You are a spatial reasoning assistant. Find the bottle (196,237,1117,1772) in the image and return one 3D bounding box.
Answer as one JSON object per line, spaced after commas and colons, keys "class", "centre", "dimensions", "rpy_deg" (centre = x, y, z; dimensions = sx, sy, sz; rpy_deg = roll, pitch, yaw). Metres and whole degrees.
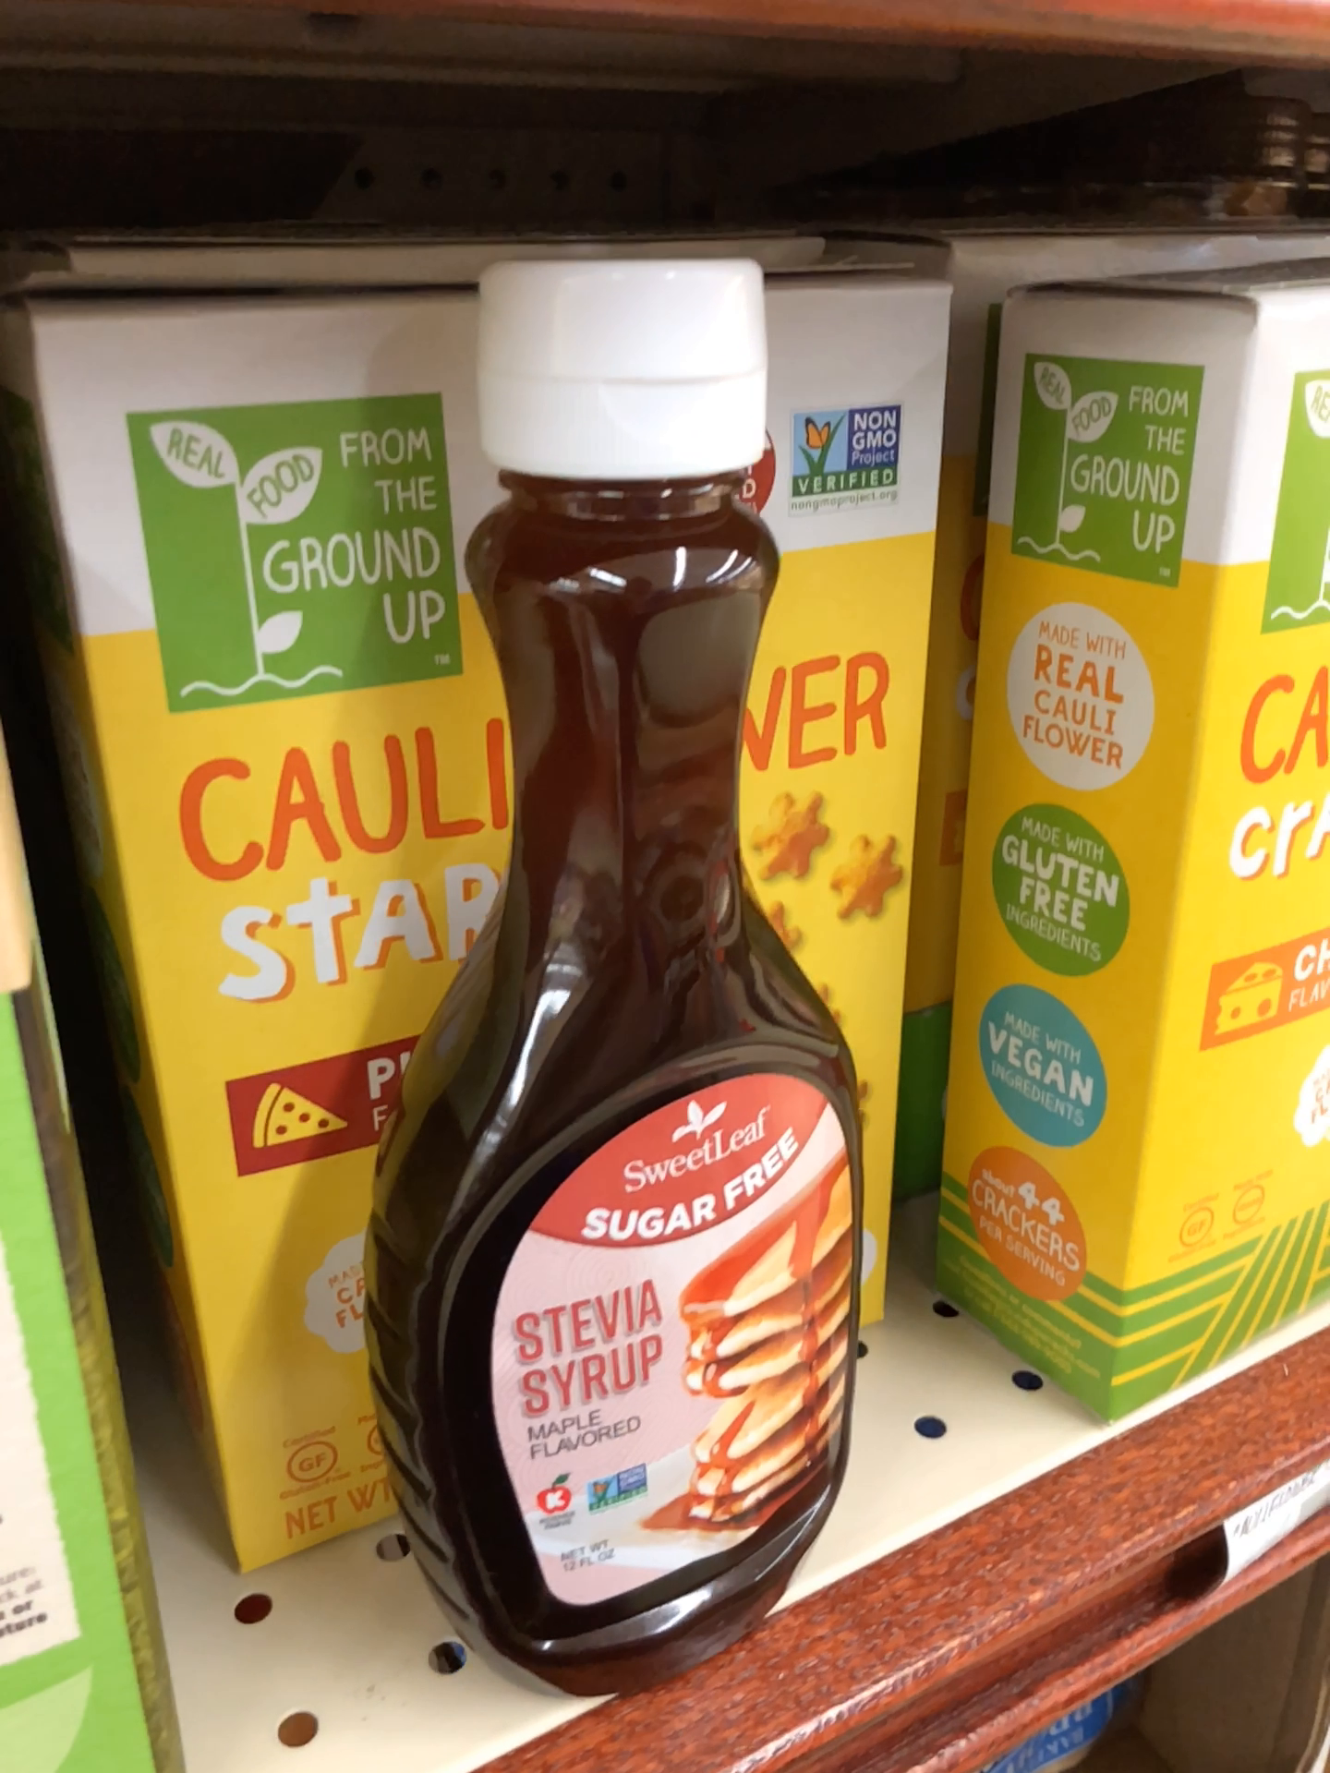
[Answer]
{"class": "bottle", "centre": [-0.001, 0.023, 0.212], "dimensions": [0.092, 0.211, 0.051], "rpy_deg": [-16, 30, -33]}
